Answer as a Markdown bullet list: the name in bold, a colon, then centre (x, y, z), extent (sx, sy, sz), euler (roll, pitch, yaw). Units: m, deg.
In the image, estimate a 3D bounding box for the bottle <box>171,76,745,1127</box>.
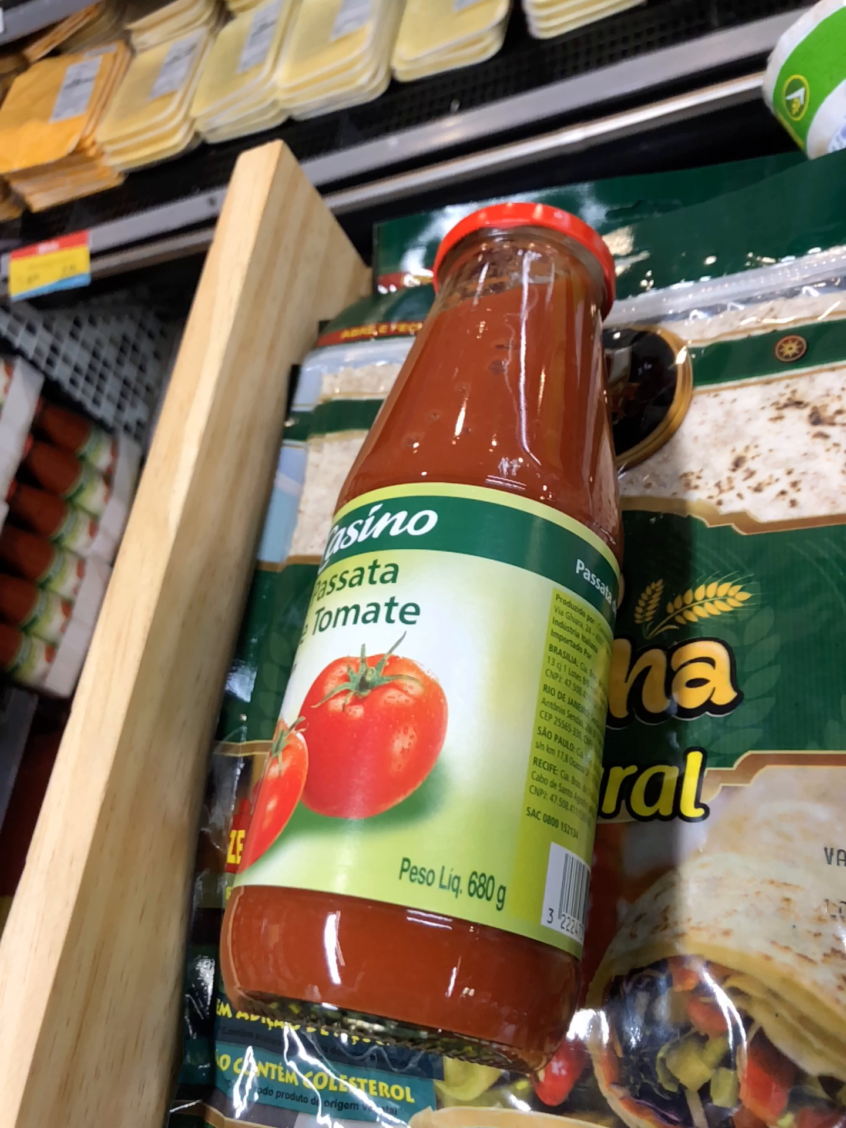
- **bottle**: centre (0.021, 0.002, 0.240), extent (0.070, 0.080, 0.231), euler (-19, 51, 49)
